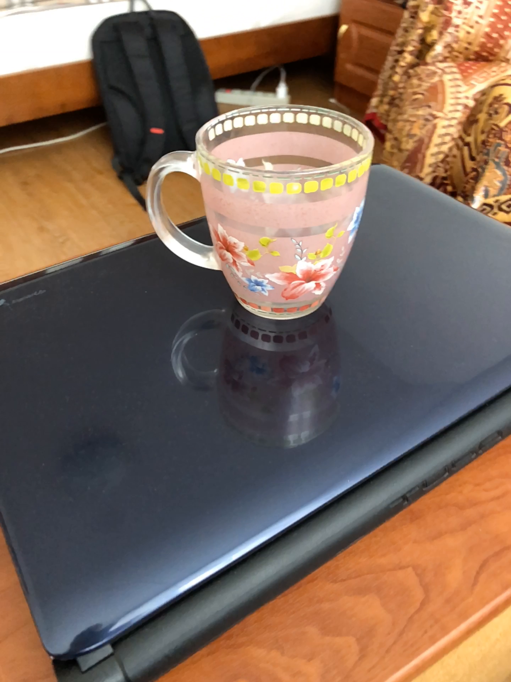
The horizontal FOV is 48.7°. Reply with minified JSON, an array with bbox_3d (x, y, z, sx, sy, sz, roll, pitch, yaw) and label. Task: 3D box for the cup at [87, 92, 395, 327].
[{"bbox_3d":[-0.004,-0.072,0.300,0.130,0.081,0.095,2,42,3],"label":"cup"}]
